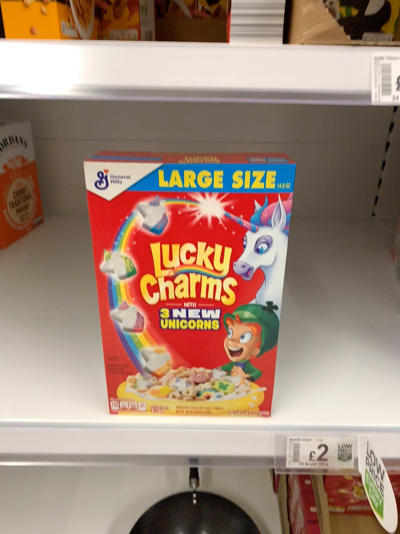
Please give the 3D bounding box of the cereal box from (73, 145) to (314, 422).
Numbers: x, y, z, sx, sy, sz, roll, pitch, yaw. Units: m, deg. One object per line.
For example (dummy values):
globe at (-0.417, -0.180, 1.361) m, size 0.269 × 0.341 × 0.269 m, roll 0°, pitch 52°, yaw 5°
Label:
cereal box at (-0.009, 0.028, 0.452) m, size 0.210 × 0.298 × 0.071 m, roll 1°, pitch 24°, yaw -1°
